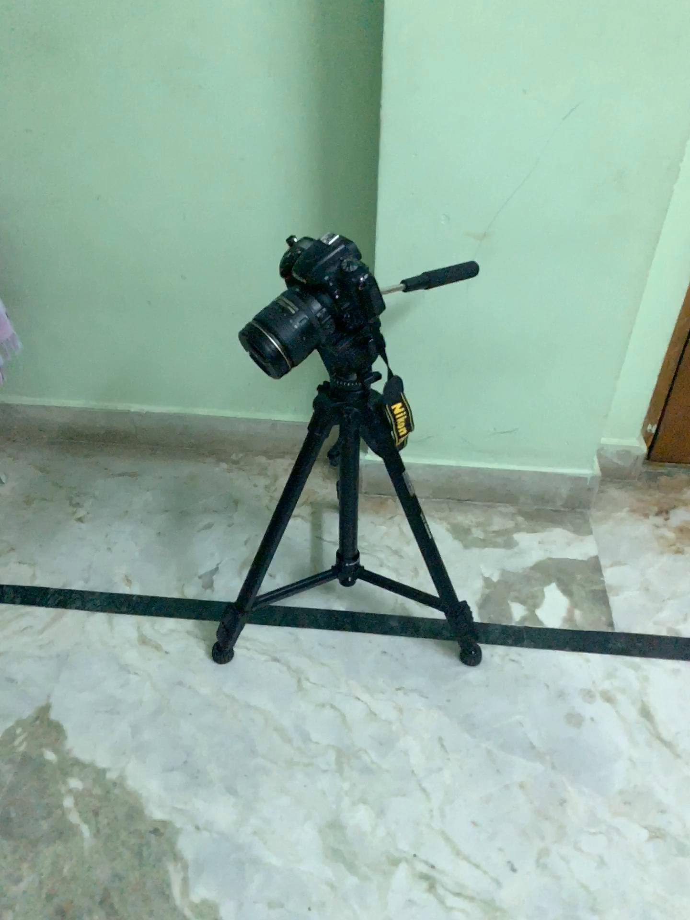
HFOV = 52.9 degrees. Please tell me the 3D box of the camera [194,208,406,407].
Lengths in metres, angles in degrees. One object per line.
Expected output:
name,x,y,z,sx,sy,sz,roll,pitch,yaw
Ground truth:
camera,-0.056,-0.198,0.880,0.180,0.110,0.171,-42,50,-11
